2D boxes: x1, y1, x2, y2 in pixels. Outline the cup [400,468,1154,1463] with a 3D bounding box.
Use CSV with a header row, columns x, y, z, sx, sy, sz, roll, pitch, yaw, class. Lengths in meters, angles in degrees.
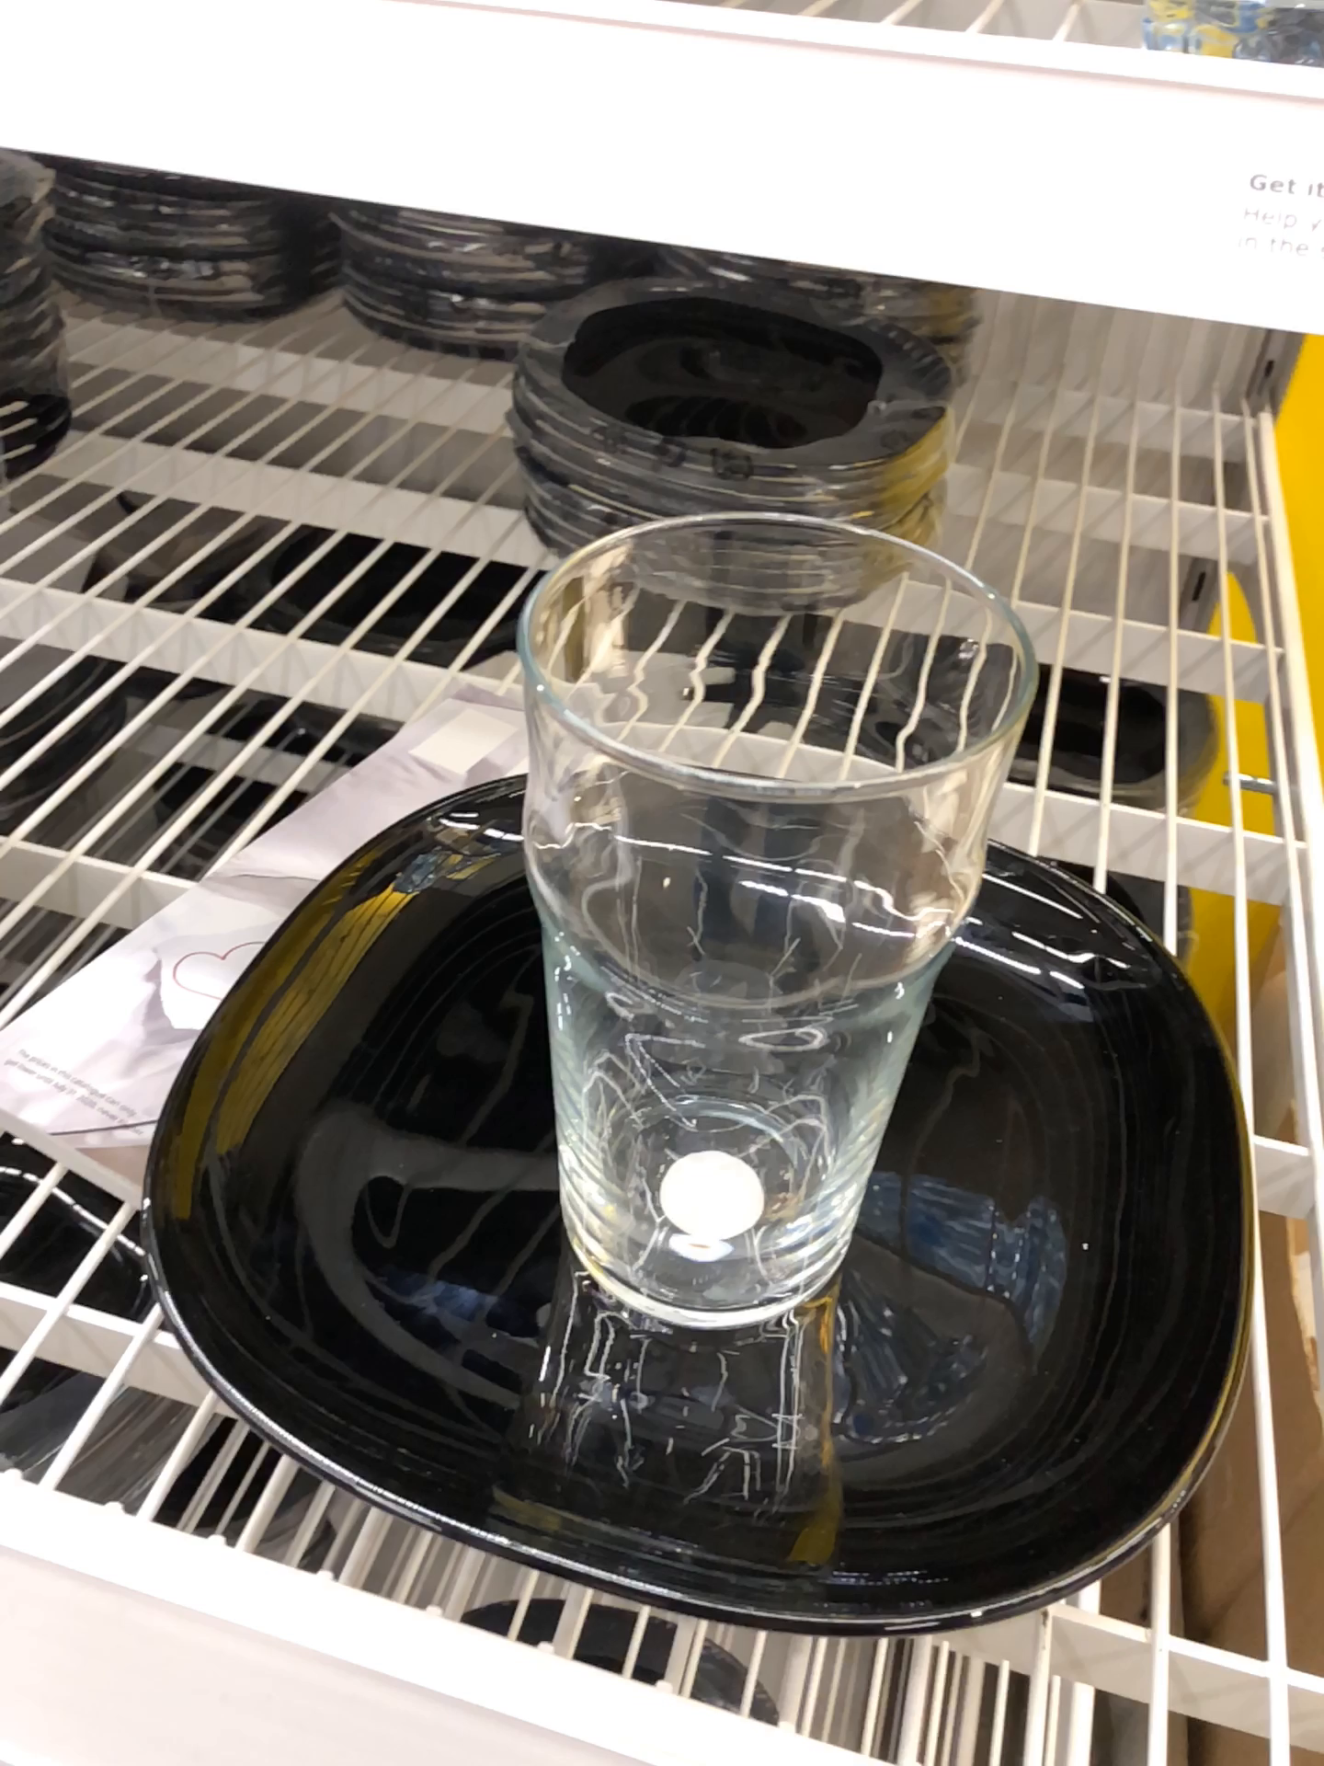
x,y,z,sx,sy,sz,roll,pitch,yaw,class
0.017,0.014,0.279,0.090,0.139,0.090,3,38,-3,cup
